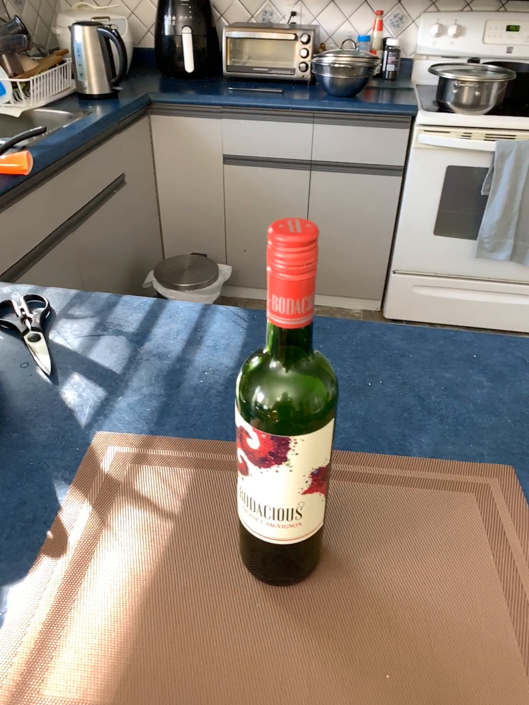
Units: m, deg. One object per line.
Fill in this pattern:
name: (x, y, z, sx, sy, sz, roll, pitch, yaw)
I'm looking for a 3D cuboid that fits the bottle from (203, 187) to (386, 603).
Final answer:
bottle: (0.018, 0.047, 0.387, 0.080, 0.297, 0.081, 1, 35, 0)
